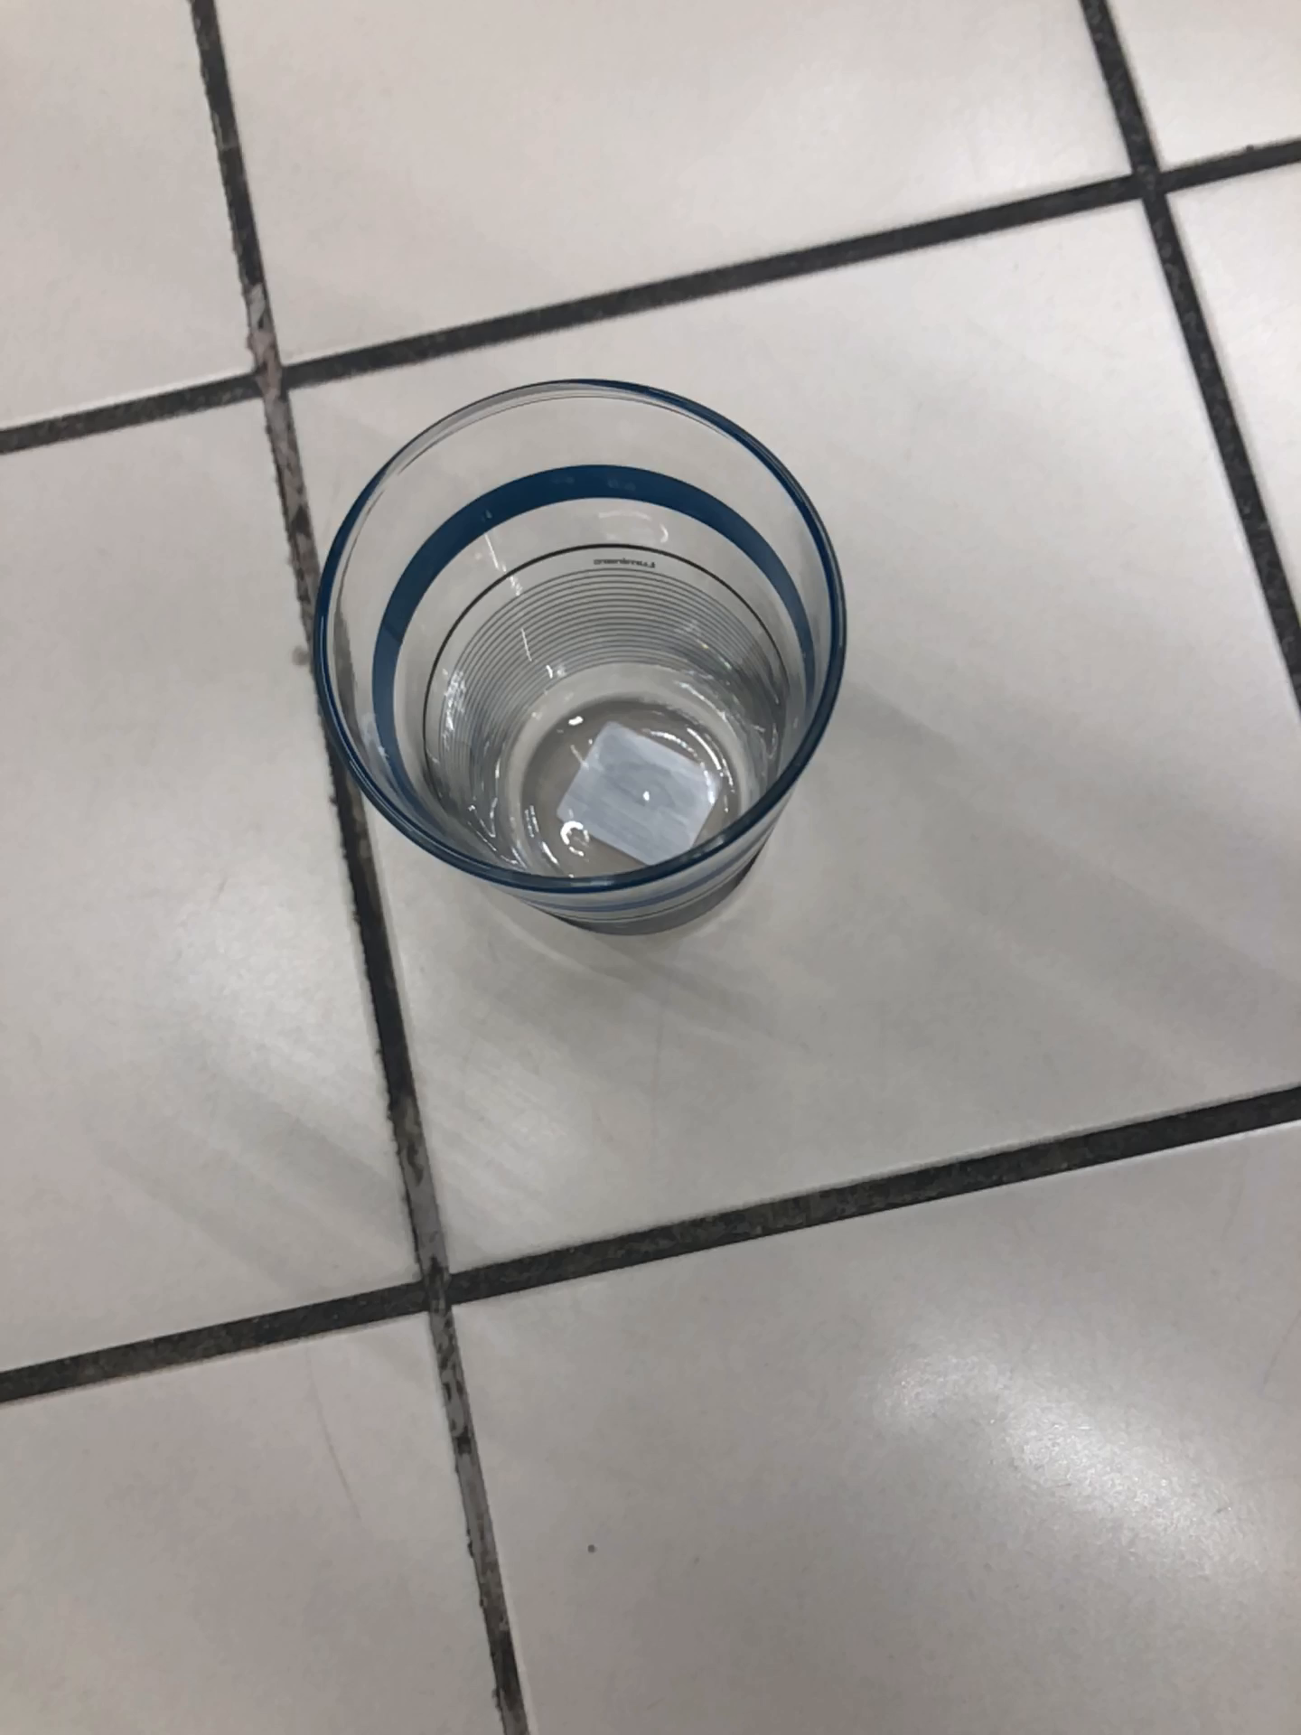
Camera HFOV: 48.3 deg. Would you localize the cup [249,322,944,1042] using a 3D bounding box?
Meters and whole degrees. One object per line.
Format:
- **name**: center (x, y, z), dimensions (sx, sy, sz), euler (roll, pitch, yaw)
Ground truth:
- **cup**: center (-0.006, -0.020, 0.244), dimensions (0.079, 0.102, 0.079), euler (-1, 80, 3)
